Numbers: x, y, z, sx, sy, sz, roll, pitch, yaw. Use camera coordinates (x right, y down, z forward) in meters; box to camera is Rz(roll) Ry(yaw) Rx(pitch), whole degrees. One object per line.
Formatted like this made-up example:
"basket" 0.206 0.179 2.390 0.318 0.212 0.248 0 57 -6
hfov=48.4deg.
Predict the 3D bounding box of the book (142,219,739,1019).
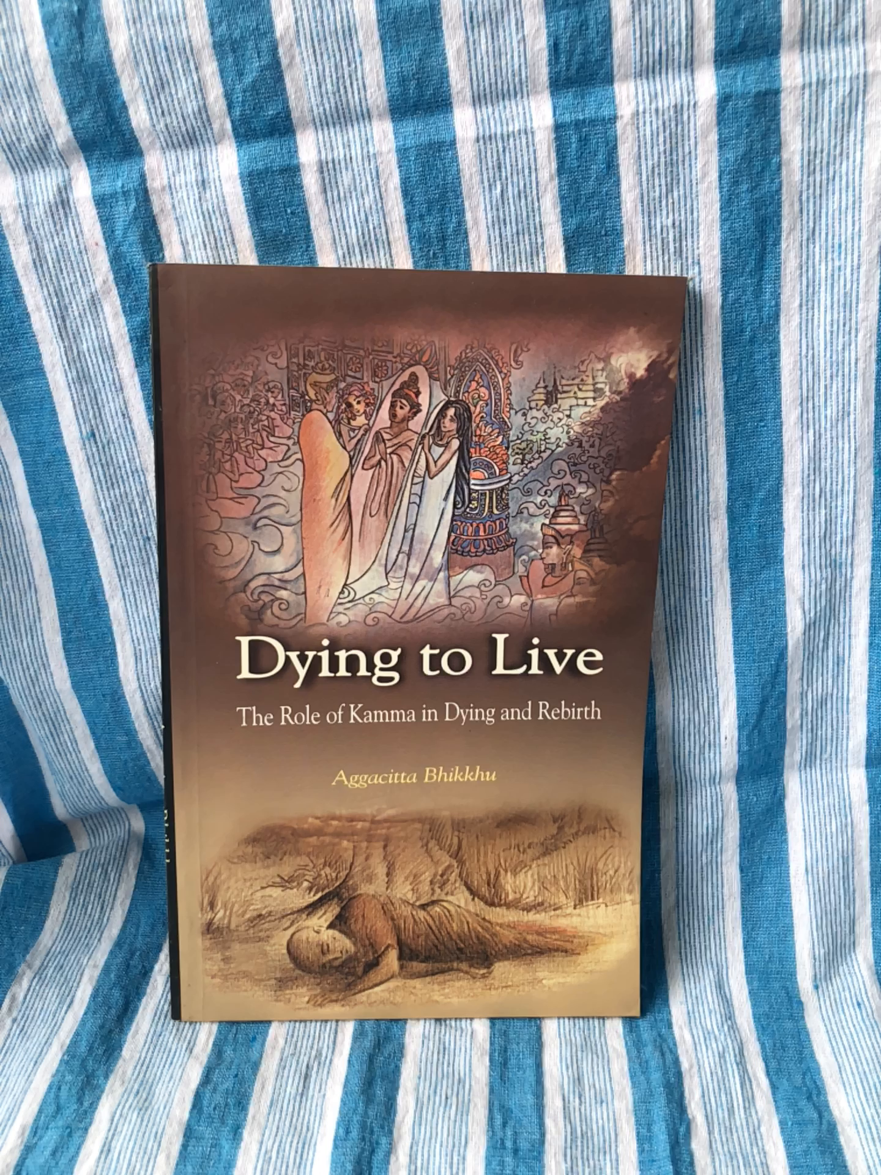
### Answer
"book" -0.002 0.014 0.272 0.150 0.210 0.020 2 6 -6
